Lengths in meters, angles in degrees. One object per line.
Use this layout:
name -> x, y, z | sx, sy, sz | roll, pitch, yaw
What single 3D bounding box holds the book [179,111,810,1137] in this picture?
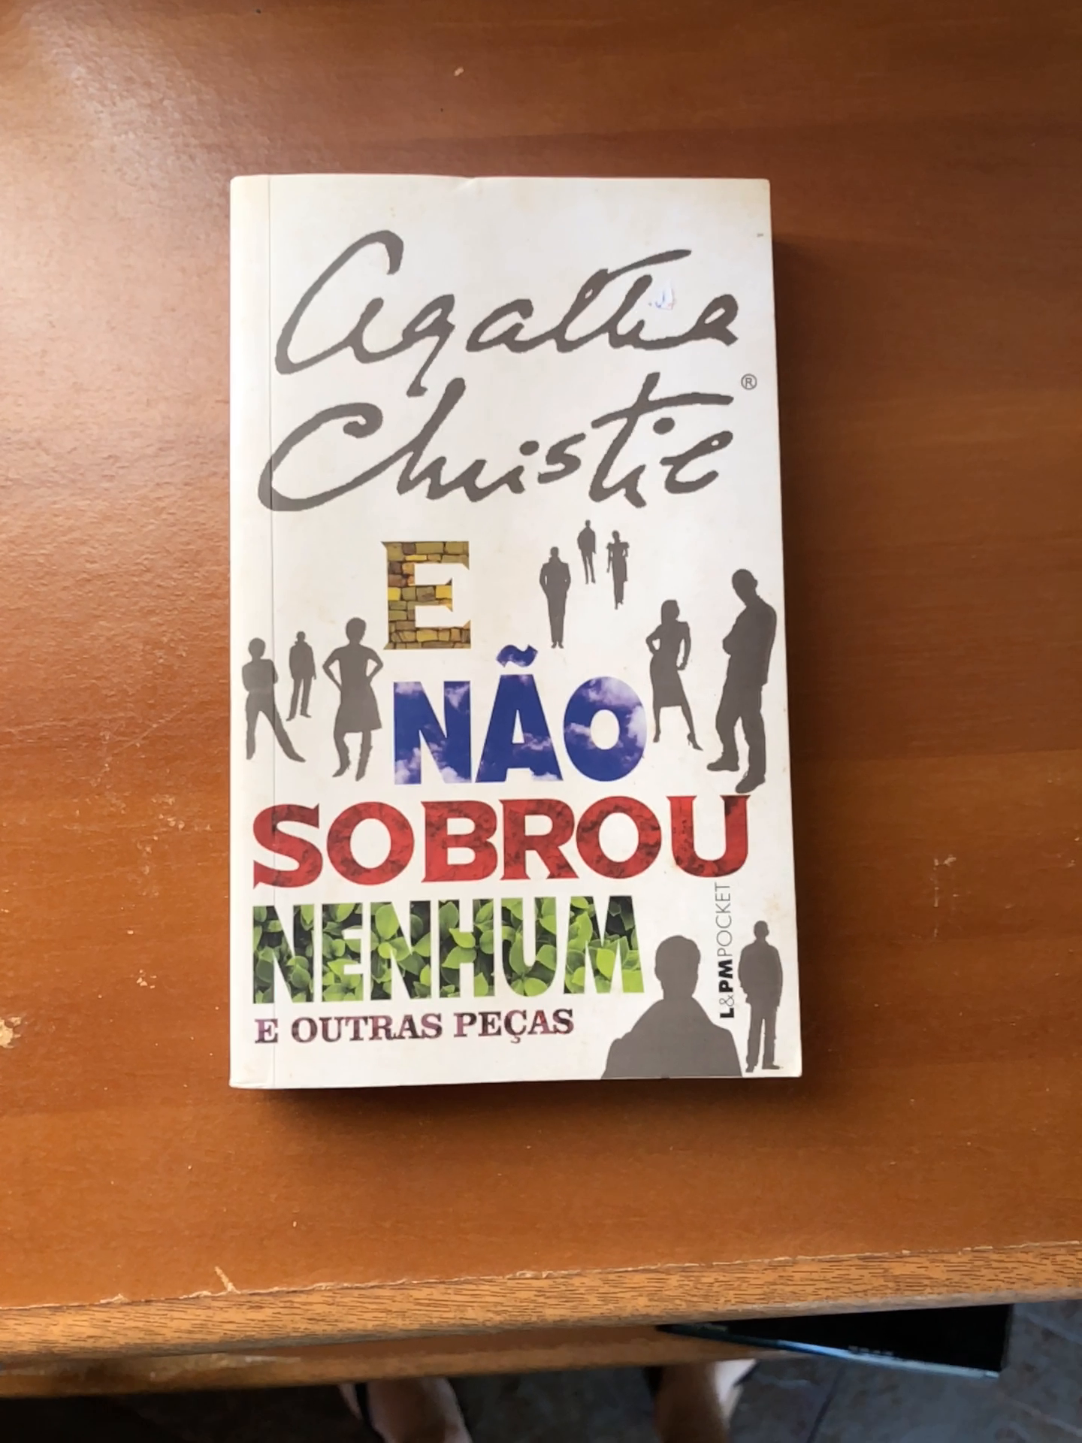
book -> -0.008, -0.019, 0.228 | 0.110, 0.024, 0.186 | 0, 86, 0
